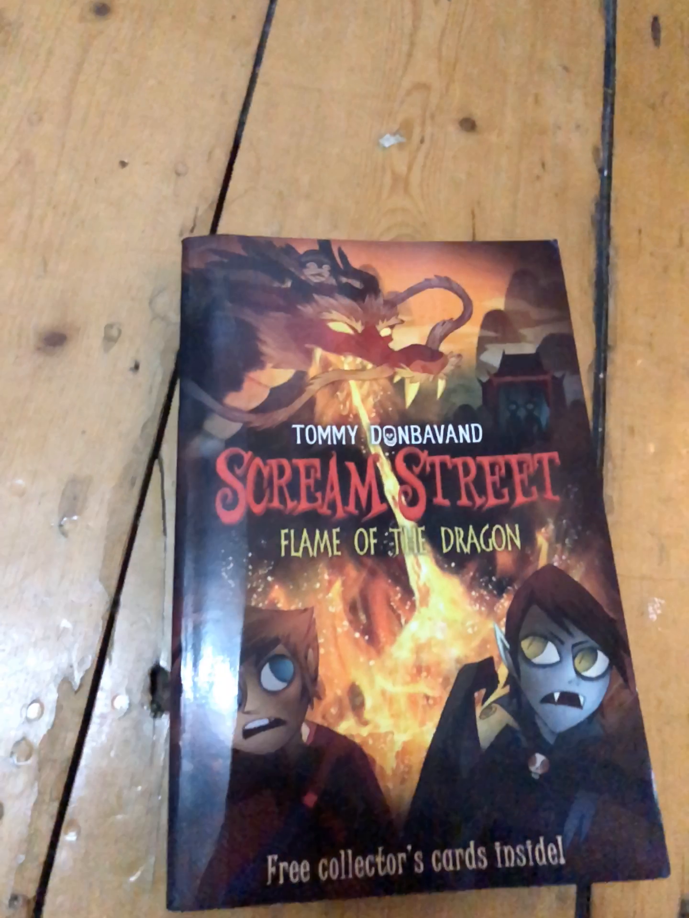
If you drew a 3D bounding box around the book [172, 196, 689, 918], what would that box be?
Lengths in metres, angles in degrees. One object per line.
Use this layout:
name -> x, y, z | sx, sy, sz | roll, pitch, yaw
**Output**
book -> 0.017, 0.019, 0.233 | 0.130, 0.040, 0.200 | 0, 70, -9
